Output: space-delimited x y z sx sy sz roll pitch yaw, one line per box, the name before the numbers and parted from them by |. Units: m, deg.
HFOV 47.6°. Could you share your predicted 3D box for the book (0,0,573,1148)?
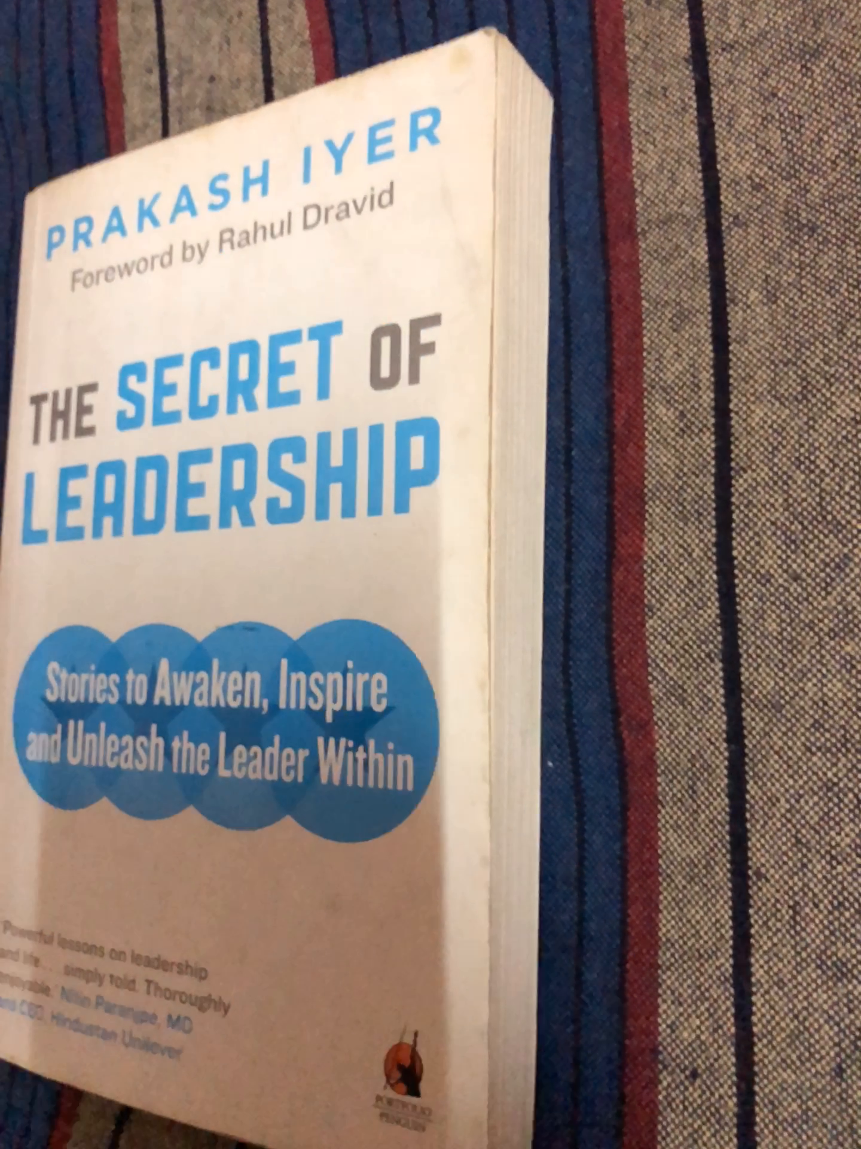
book | -0.045 -0.003 0.185 0.140 0.030 0.190 -2 82 28
